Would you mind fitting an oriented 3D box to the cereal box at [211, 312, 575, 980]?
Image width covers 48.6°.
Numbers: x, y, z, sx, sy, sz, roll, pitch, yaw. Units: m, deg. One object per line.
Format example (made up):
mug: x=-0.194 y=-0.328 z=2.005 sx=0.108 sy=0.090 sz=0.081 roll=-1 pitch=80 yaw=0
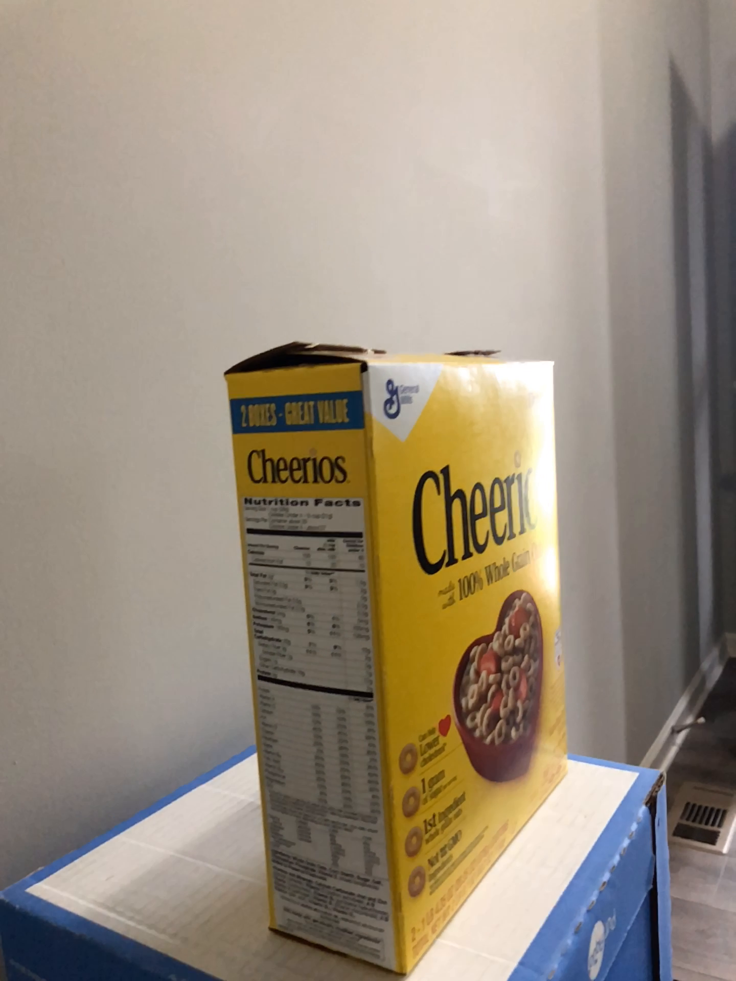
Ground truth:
cereal box: x=0.035 y=0.061 z=0.490 sx=0.090 sy=0.310 sz=0.240 roll=0 pitch=7 yaw=33
